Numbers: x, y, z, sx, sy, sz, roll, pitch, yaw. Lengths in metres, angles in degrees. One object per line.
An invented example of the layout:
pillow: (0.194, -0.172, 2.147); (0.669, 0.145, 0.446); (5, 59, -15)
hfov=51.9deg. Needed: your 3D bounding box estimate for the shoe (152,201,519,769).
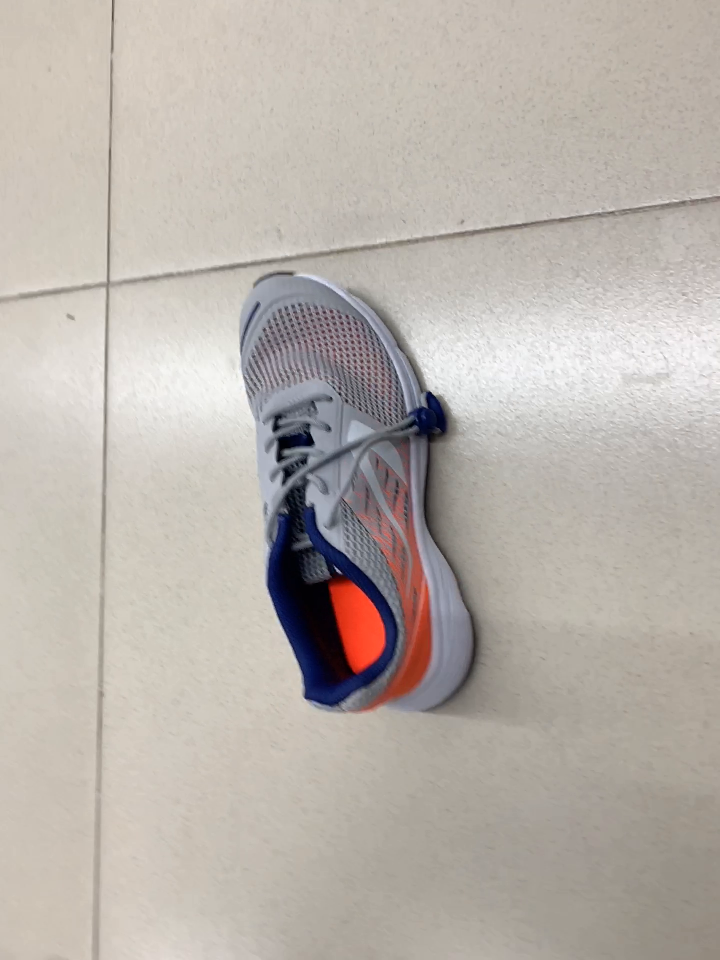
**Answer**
shoe: (-0.012, 0.005, 0.394); (0.100, 0.100, 0.250); (-19, 82, 26)
